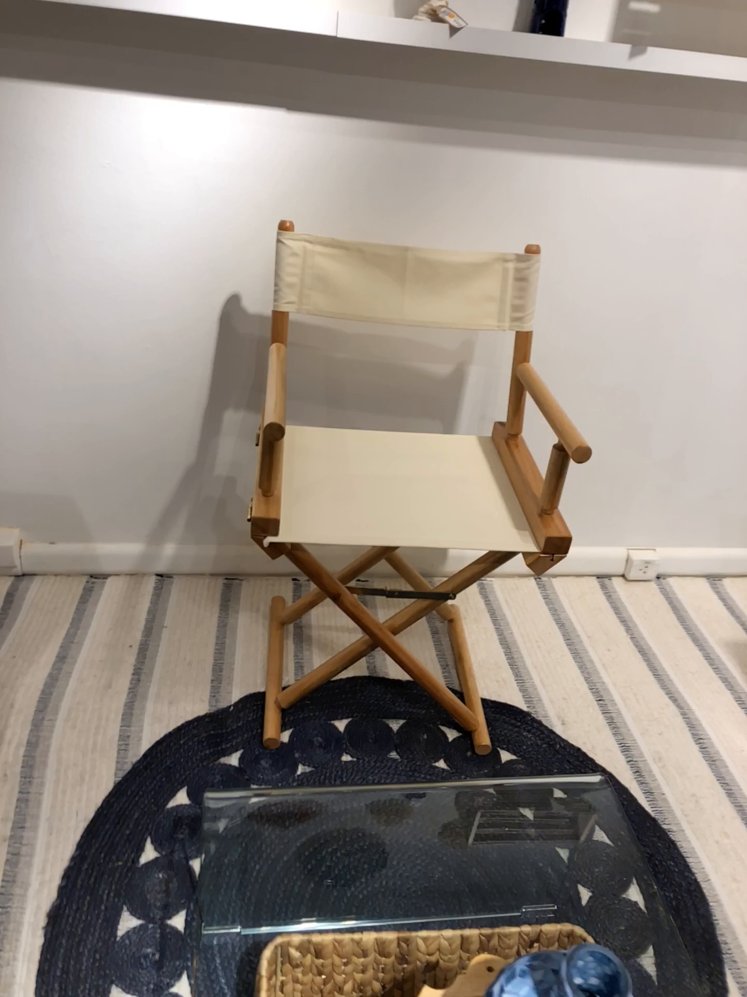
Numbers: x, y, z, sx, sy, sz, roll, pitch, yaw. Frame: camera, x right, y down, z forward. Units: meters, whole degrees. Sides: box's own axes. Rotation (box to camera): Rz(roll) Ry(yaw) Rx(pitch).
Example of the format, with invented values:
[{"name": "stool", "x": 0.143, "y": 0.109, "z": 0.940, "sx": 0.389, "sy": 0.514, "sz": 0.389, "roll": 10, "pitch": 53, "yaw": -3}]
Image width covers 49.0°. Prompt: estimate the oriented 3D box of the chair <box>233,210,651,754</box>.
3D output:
[{"name": "chair", "x": 0.041, "y": -0.032, "z": 1.507, "sx": 0.540, "sy": 0.794, "sz": 0.564, "roll": 3, "pitch": 31, "yaw": -7}]
